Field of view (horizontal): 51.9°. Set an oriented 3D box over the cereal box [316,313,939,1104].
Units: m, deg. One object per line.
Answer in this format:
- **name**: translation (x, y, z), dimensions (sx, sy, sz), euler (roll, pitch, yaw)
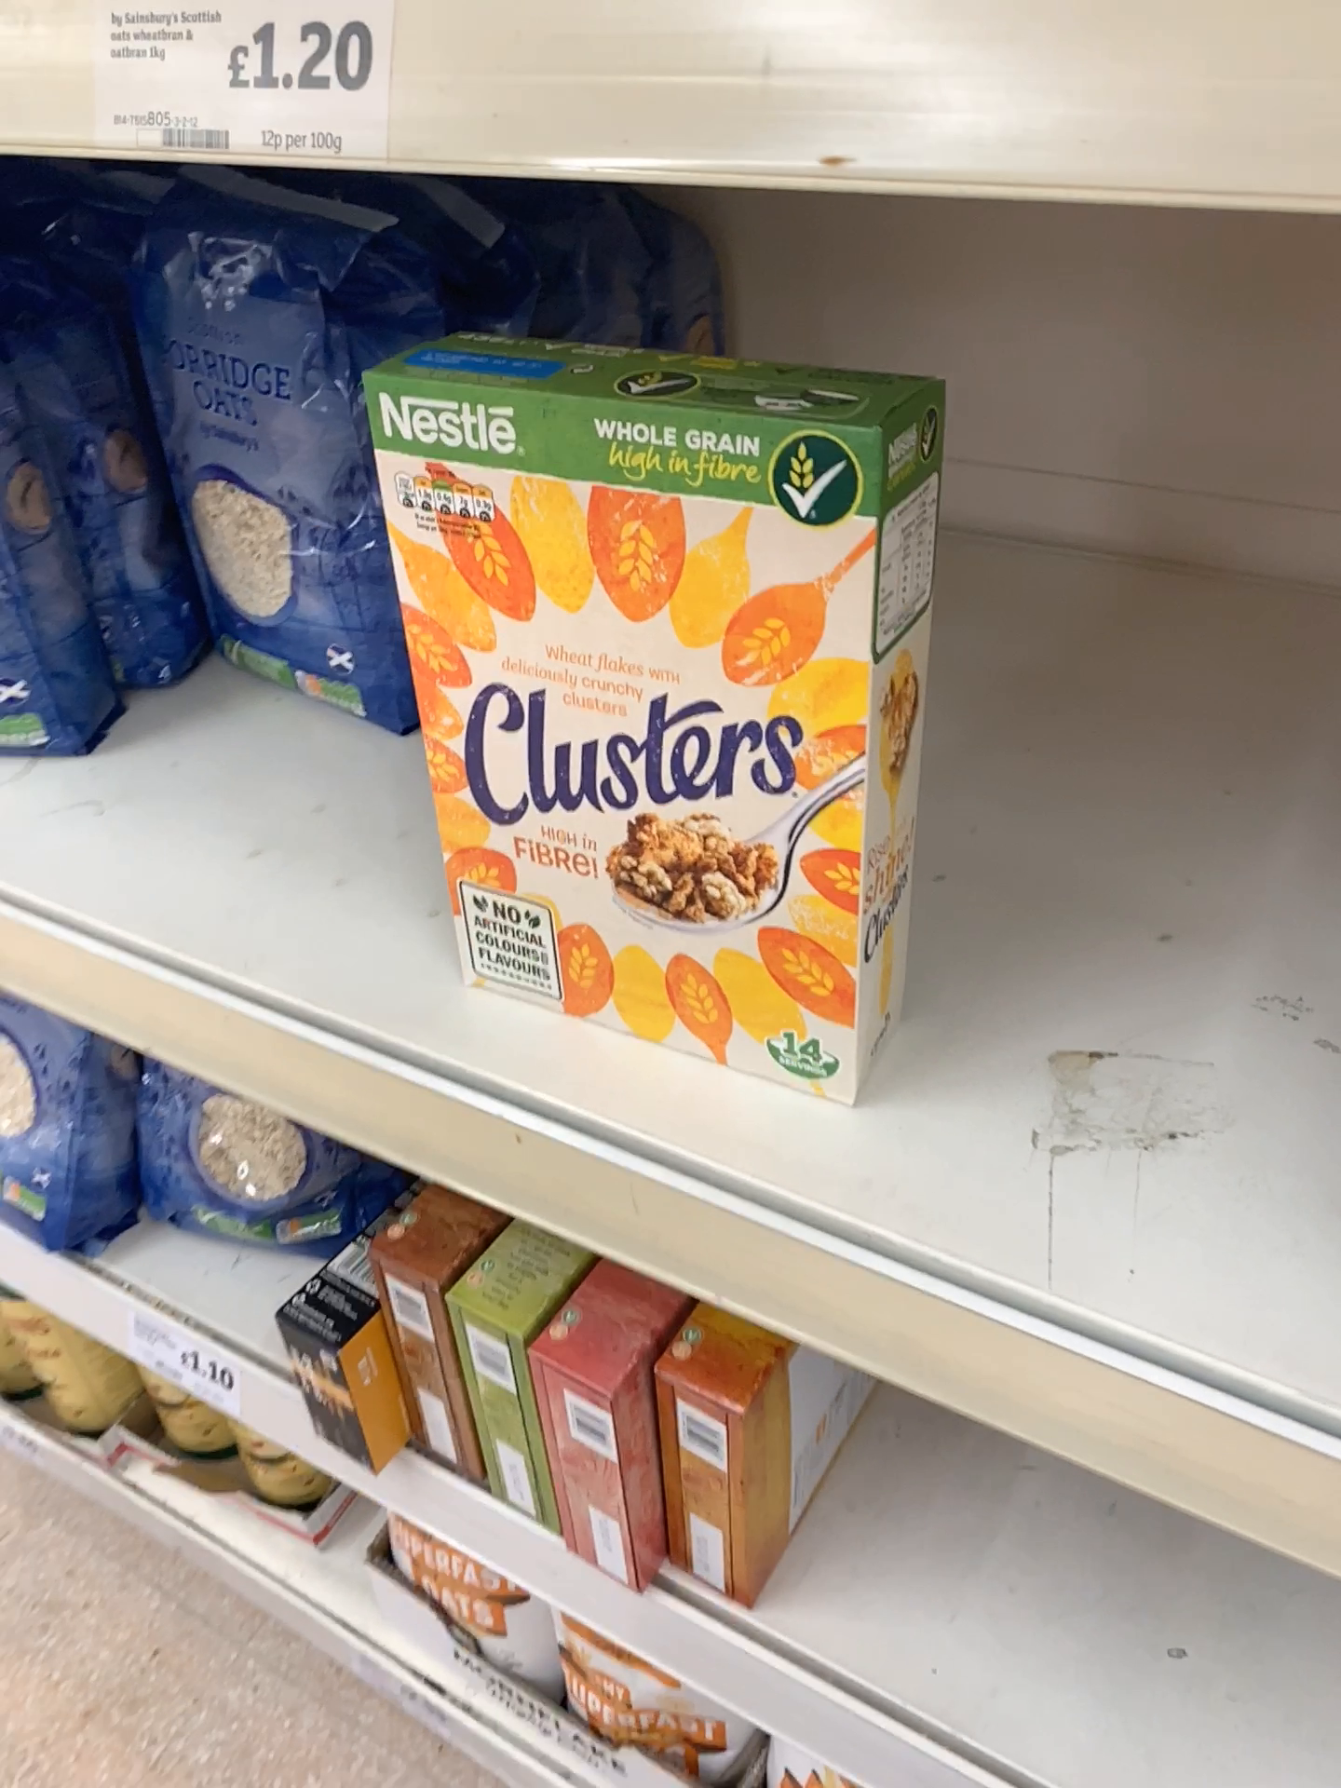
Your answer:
- **cereal box**: translation (-0.013, -0.067, 0.527), dimensions (0.200, 0.267, 0.060), euler (15, 38, 23)
